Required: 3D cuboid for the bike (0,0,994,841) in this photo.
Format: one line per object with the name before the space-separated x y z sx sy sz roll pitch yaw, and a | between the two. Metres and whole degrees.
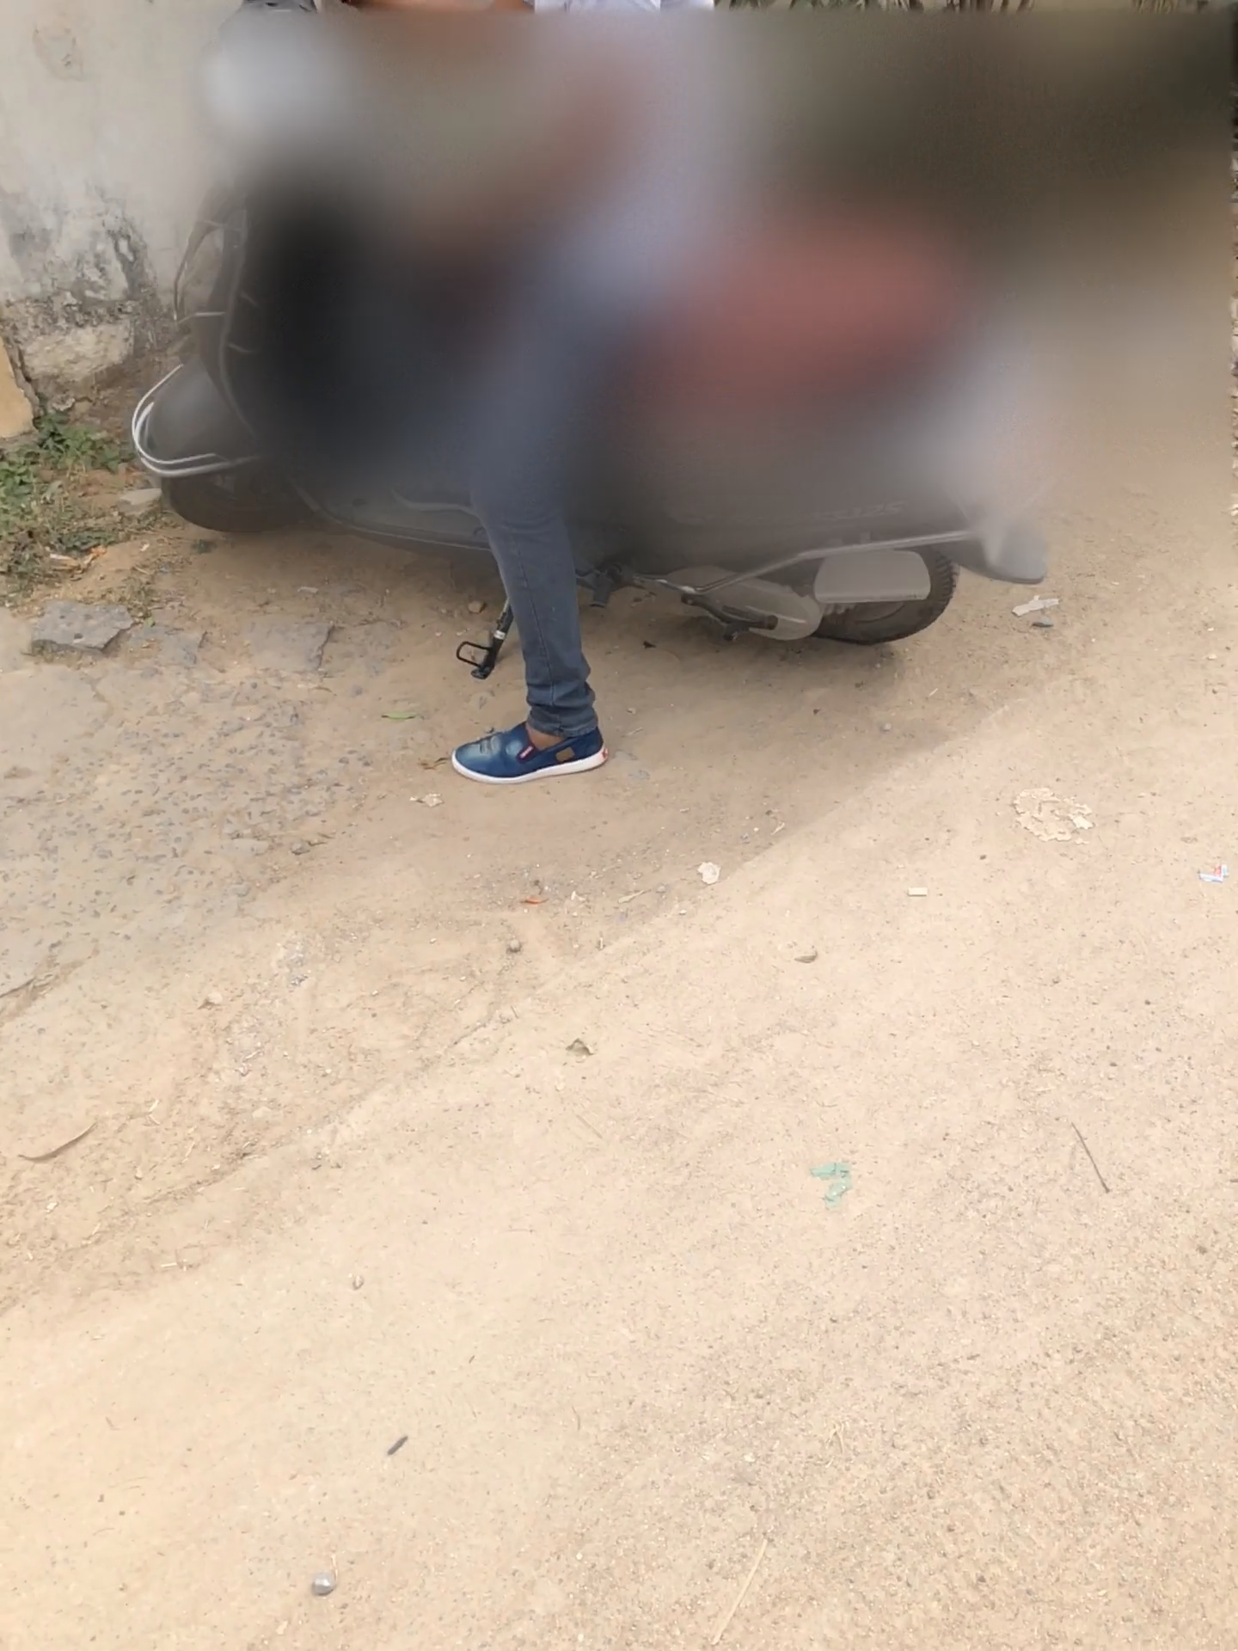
bike | -0.249 -0.758 2.148 1.496 1.195 0.614 8 39 11
